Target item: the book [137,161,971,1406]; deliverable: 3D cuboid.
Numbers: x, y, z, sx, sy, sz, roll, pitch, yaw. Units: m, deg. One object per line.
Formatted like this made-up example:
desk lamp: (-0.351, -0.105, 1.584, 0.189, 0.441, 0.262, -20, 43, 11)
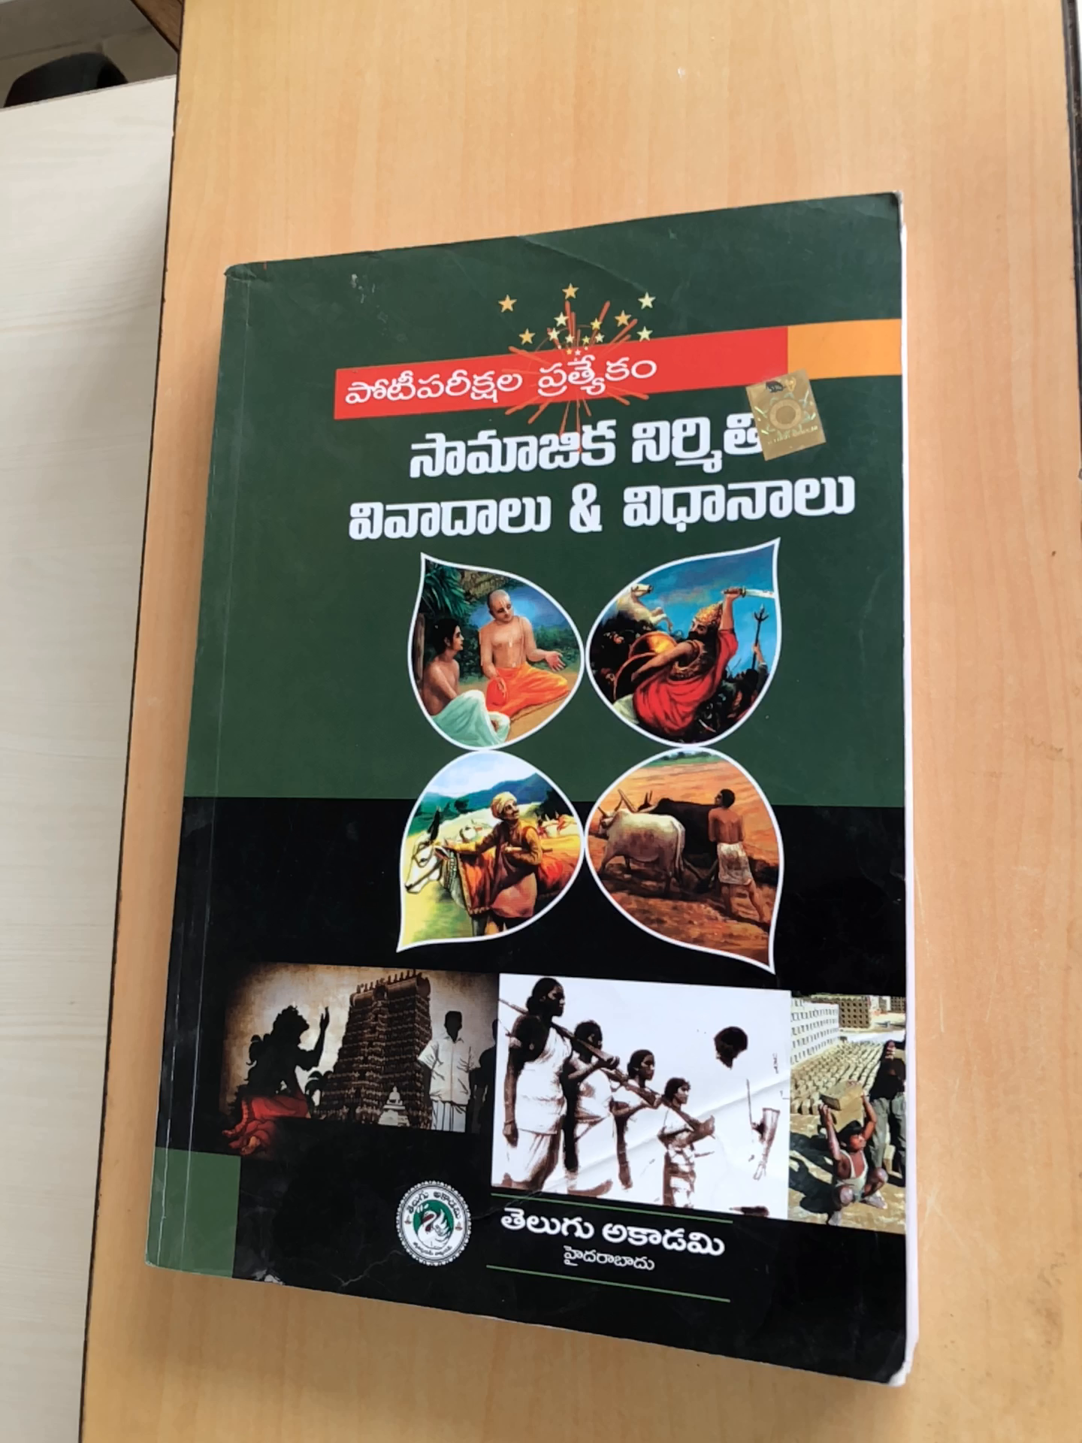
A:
book: (0.005, 0.007, 0.308, 0.190, 0.050, 0.270, 0, 81, 15)
